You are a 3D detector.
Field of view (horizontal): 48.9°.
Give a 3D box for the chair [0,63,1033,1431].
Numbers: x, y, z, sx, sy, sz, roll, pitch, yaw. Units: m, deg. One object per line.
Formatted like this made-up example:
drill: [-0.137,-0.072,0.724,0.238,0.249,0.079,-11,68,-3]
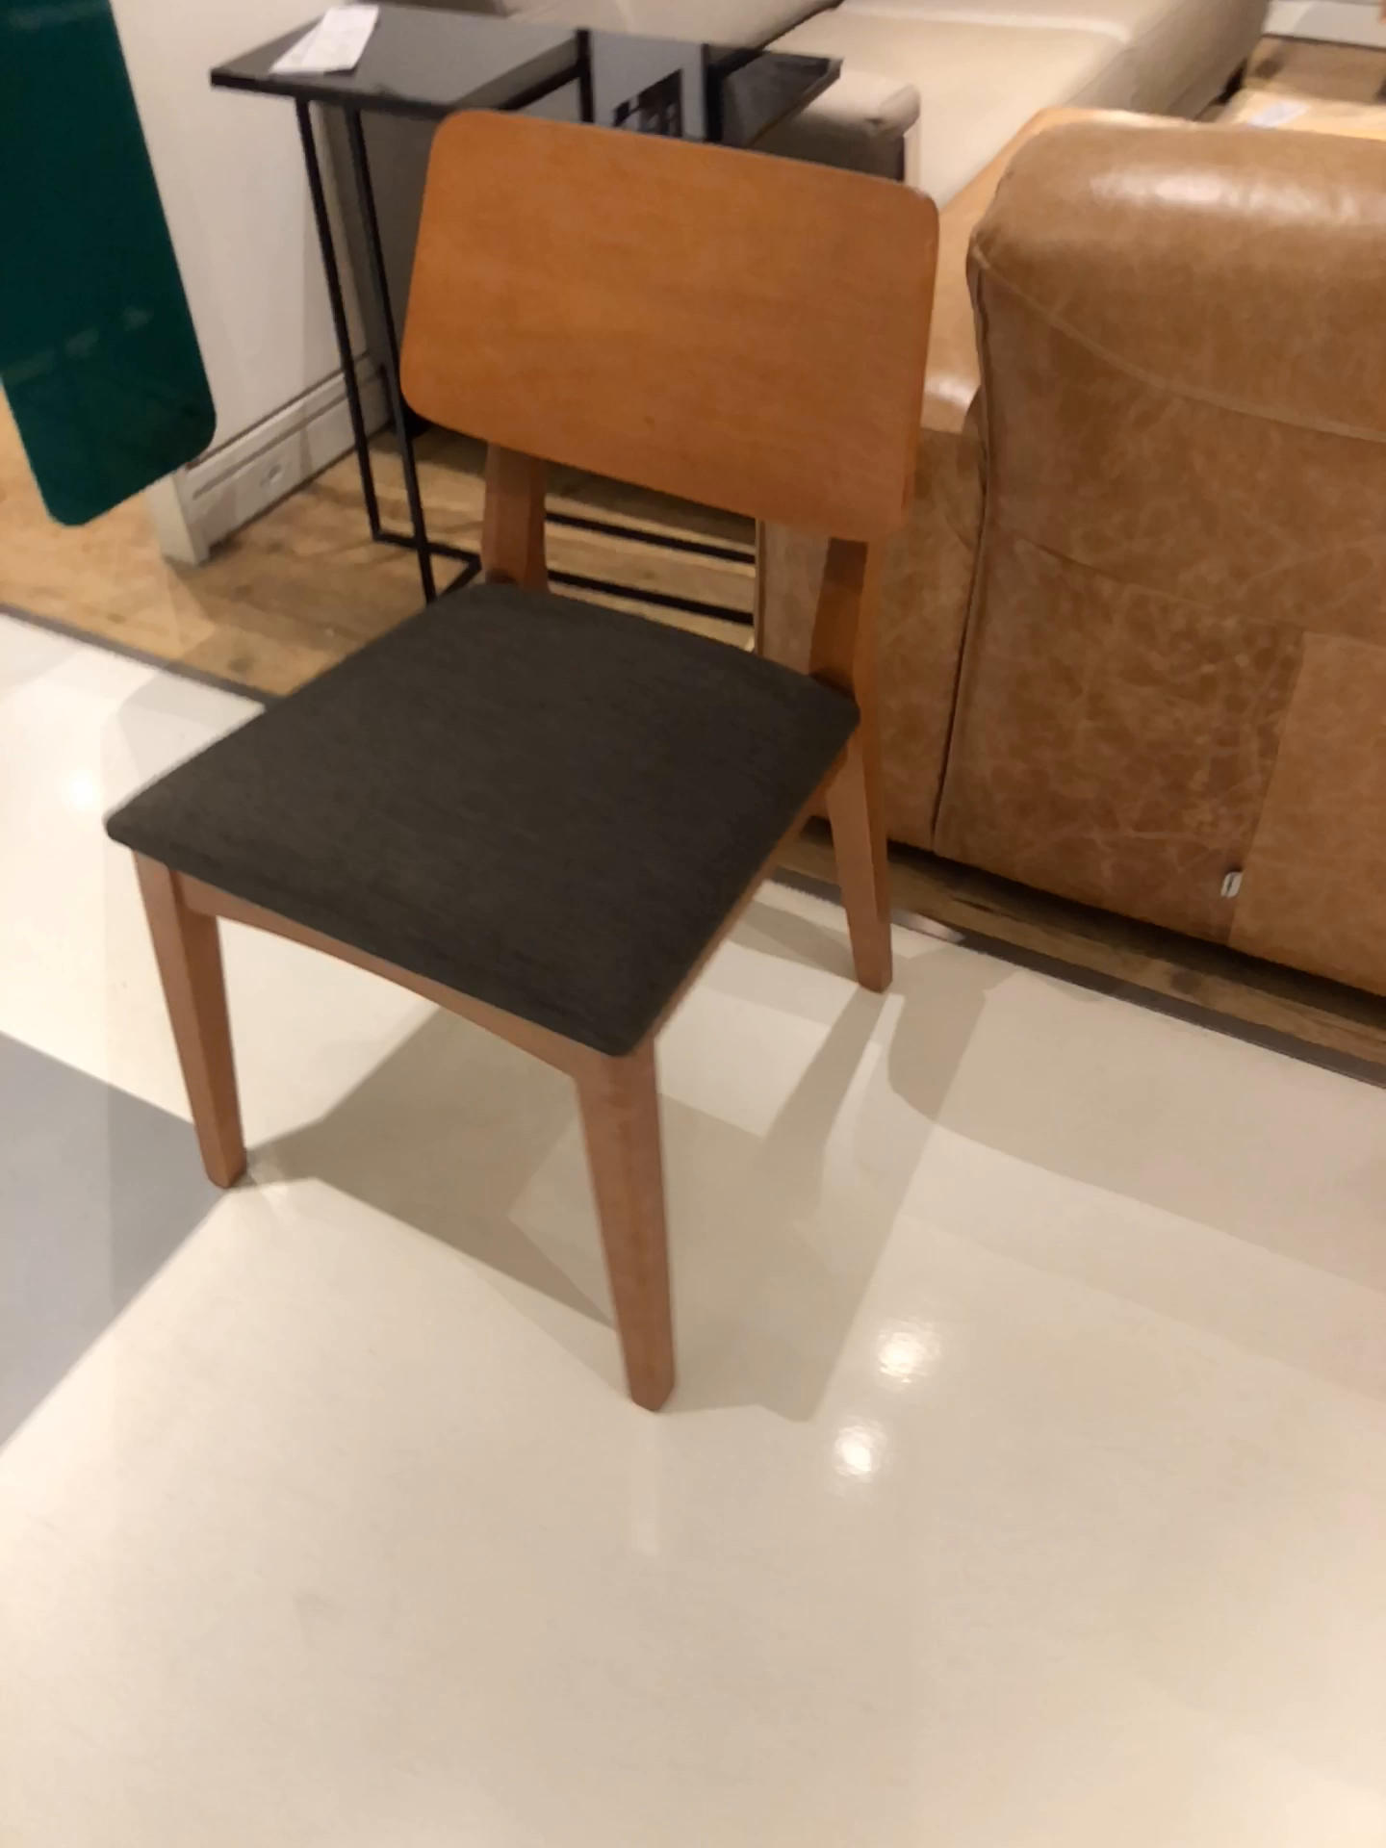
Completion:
chair: [-0.109,-0.134,1.201,0.481,0.794,0.563,20,48,21]
